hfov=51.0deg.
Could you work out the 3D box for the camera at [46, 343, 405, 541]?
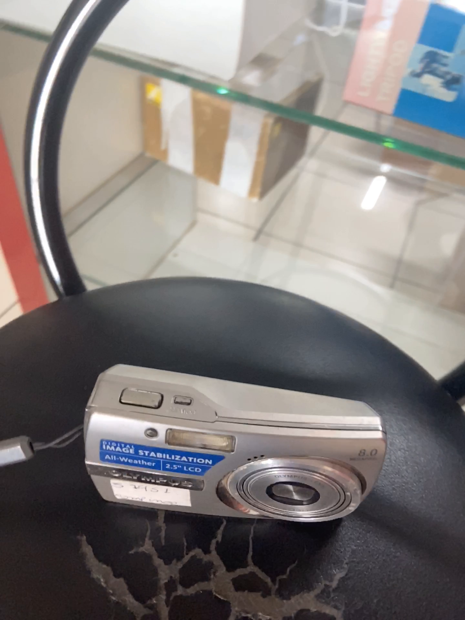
[{"bbox_3d":[-0.003,0.048,0.167,0.100,0.060,0.030,7,46,-1],"label":"camera"}]
